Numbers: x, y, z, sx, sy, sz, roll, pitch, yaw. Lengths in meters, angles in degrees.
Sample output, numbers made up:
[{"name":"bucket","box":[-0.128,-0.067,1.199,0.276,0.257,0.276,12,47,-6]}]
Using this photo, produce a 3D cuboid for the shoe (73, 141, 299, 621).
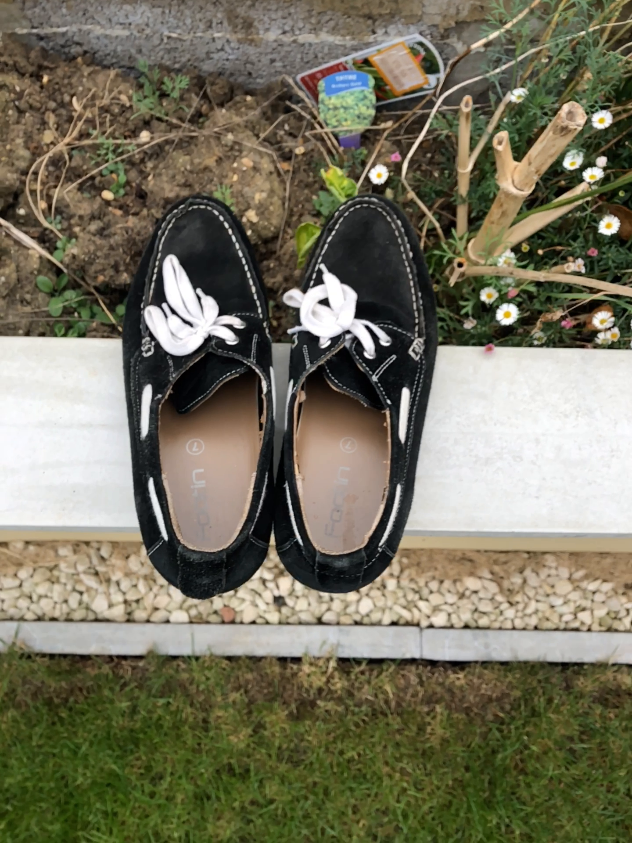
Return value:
[{"name":"shoe","box":[-0.085,-0.036,0.478,0.120,0.090,0.311,-5,67,-3]}]

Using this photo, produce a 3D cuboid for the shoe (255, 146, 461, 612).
[{"name":"shoe","box":[0.033,-0.035,0.480,0.110,0.090,0.301,6,66,-1]}]
